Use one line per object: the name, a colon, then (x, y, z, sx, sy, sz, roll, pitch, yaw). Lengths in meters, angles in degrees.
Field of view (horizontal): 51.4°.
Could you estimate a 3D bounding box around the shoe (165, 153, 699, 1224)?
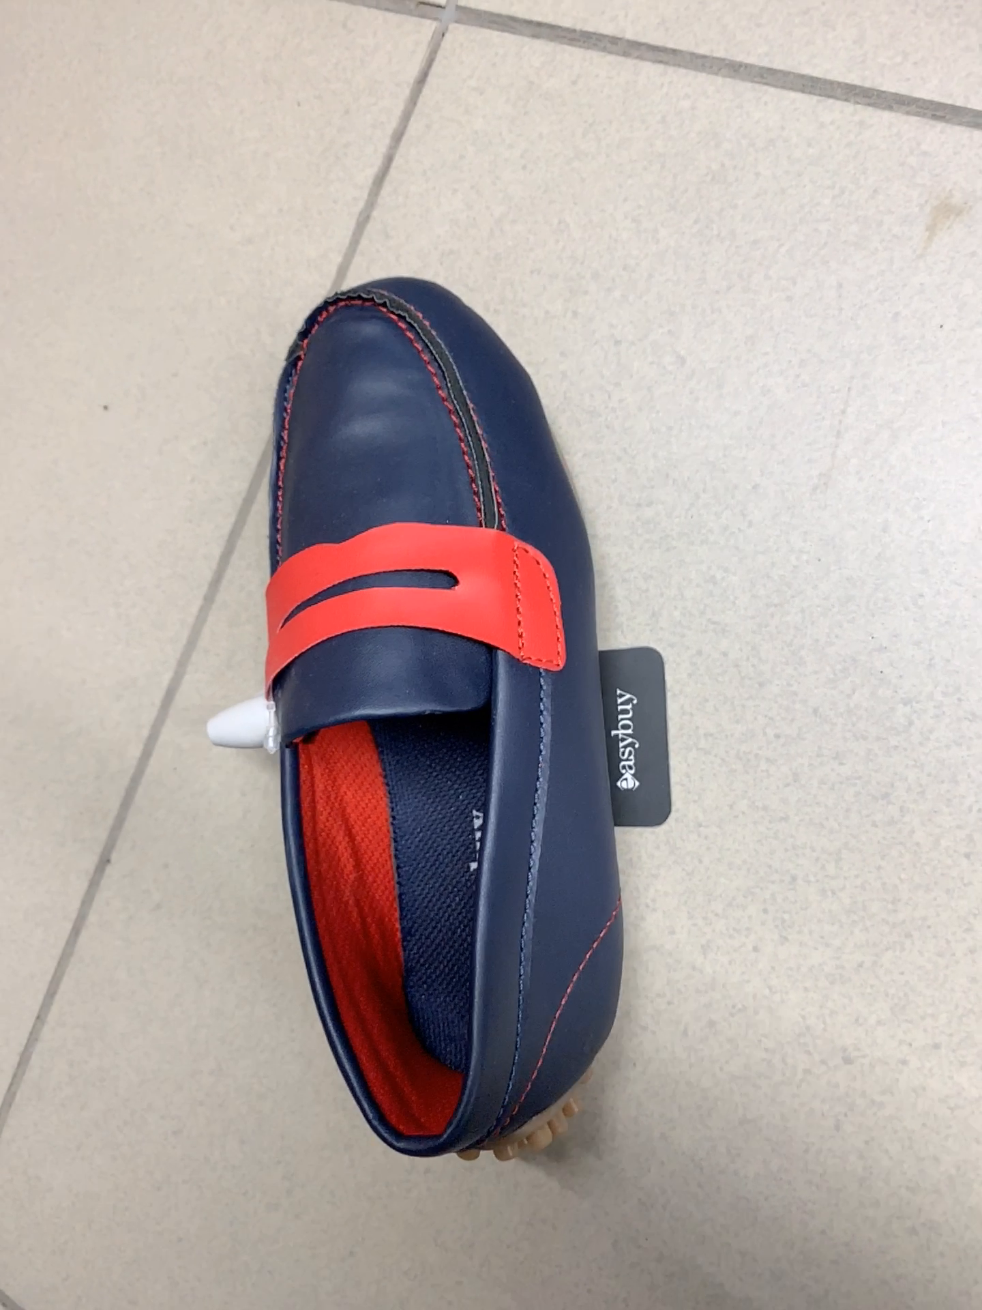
shoe: (-0.014, 0.008, 0.224, 0.080, 0.050, 0.200, -10, 82, 19)
